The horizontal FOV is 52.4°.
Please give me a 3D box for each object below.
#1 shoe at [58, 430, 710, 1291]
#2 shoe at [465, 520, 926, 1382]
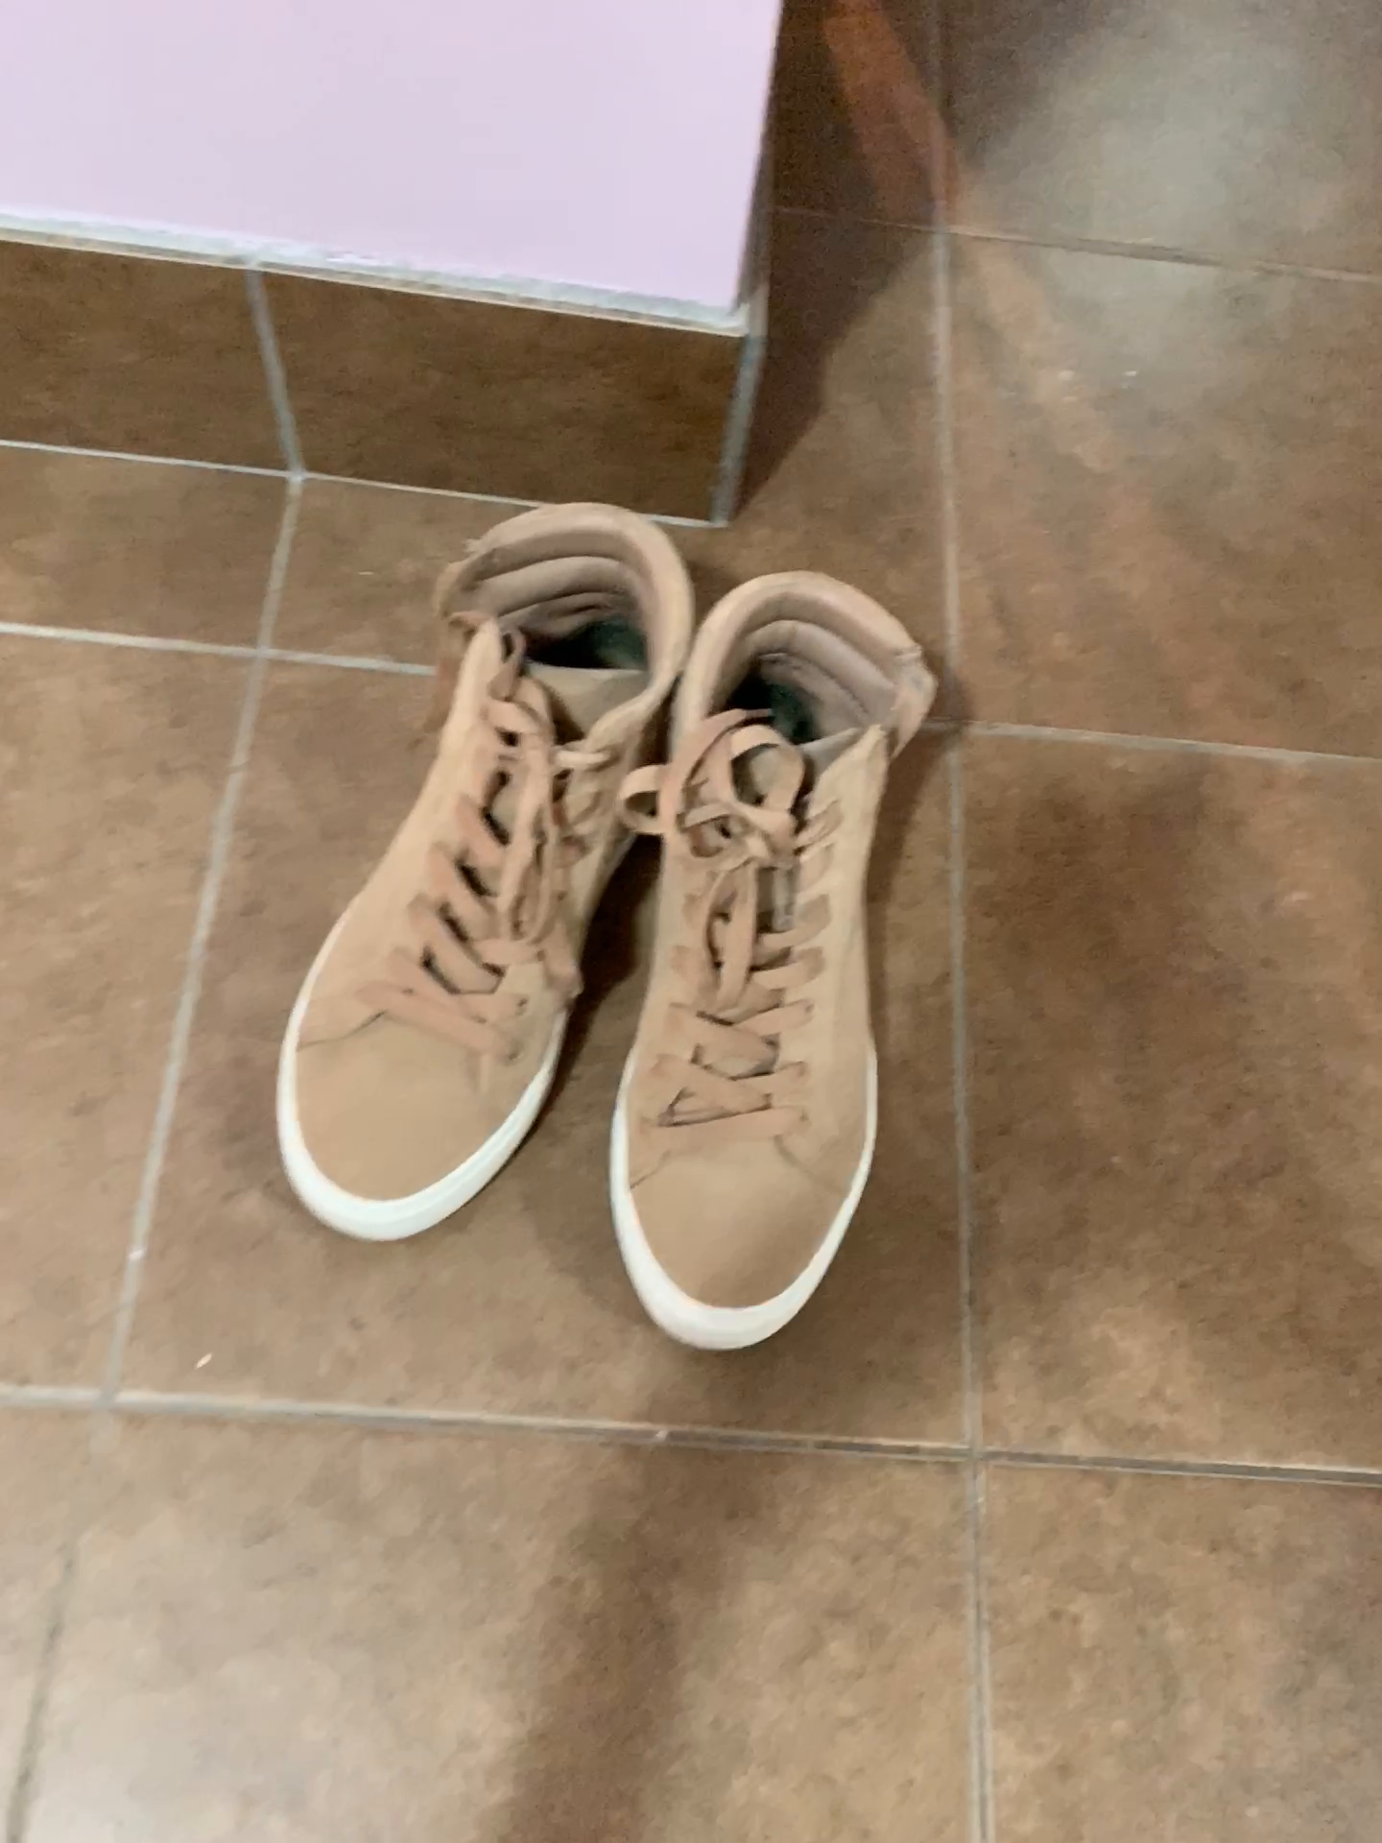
[{"bbox_3d":[-0.089,-0.021,0.488,0.105,0.117,0.255,19,66,2],"label":"shoe"},{"bbox_3d":[0.005,0.011,0.506,0.113,0.120,0.270,10,66,-2],"label":"shoe"}]
